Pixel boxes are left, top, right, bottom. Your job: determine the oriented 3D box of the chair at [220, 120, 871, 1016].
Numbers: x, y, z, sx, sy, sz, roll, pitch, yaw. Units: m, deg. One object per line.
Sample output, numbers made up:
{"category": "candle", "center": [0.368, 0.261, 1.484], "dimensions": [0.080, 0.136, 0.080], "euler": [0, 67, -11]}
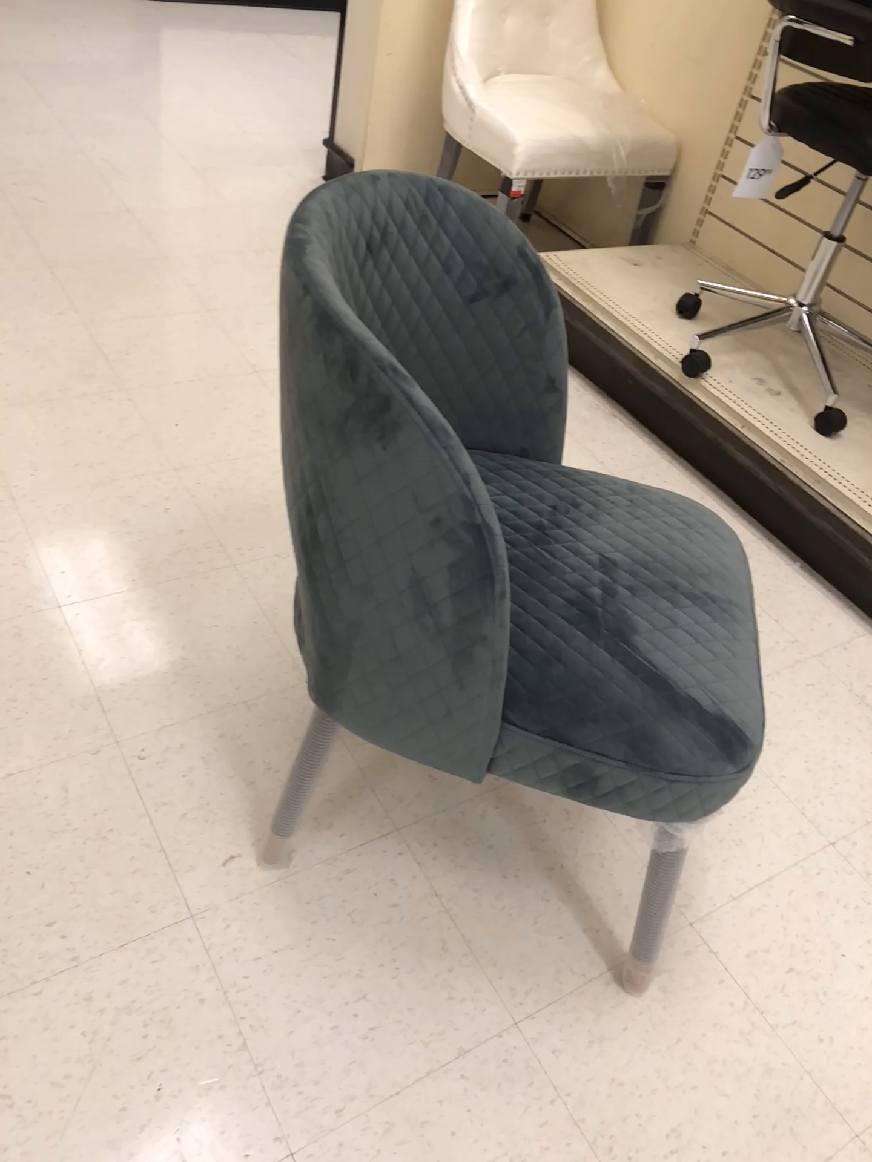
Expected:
{"category": "chair", "center": [0.117, 0.013, 1.195], "dimensions": [0.580, 0.857, 0.533], "euler": [15, 40, 2]}
